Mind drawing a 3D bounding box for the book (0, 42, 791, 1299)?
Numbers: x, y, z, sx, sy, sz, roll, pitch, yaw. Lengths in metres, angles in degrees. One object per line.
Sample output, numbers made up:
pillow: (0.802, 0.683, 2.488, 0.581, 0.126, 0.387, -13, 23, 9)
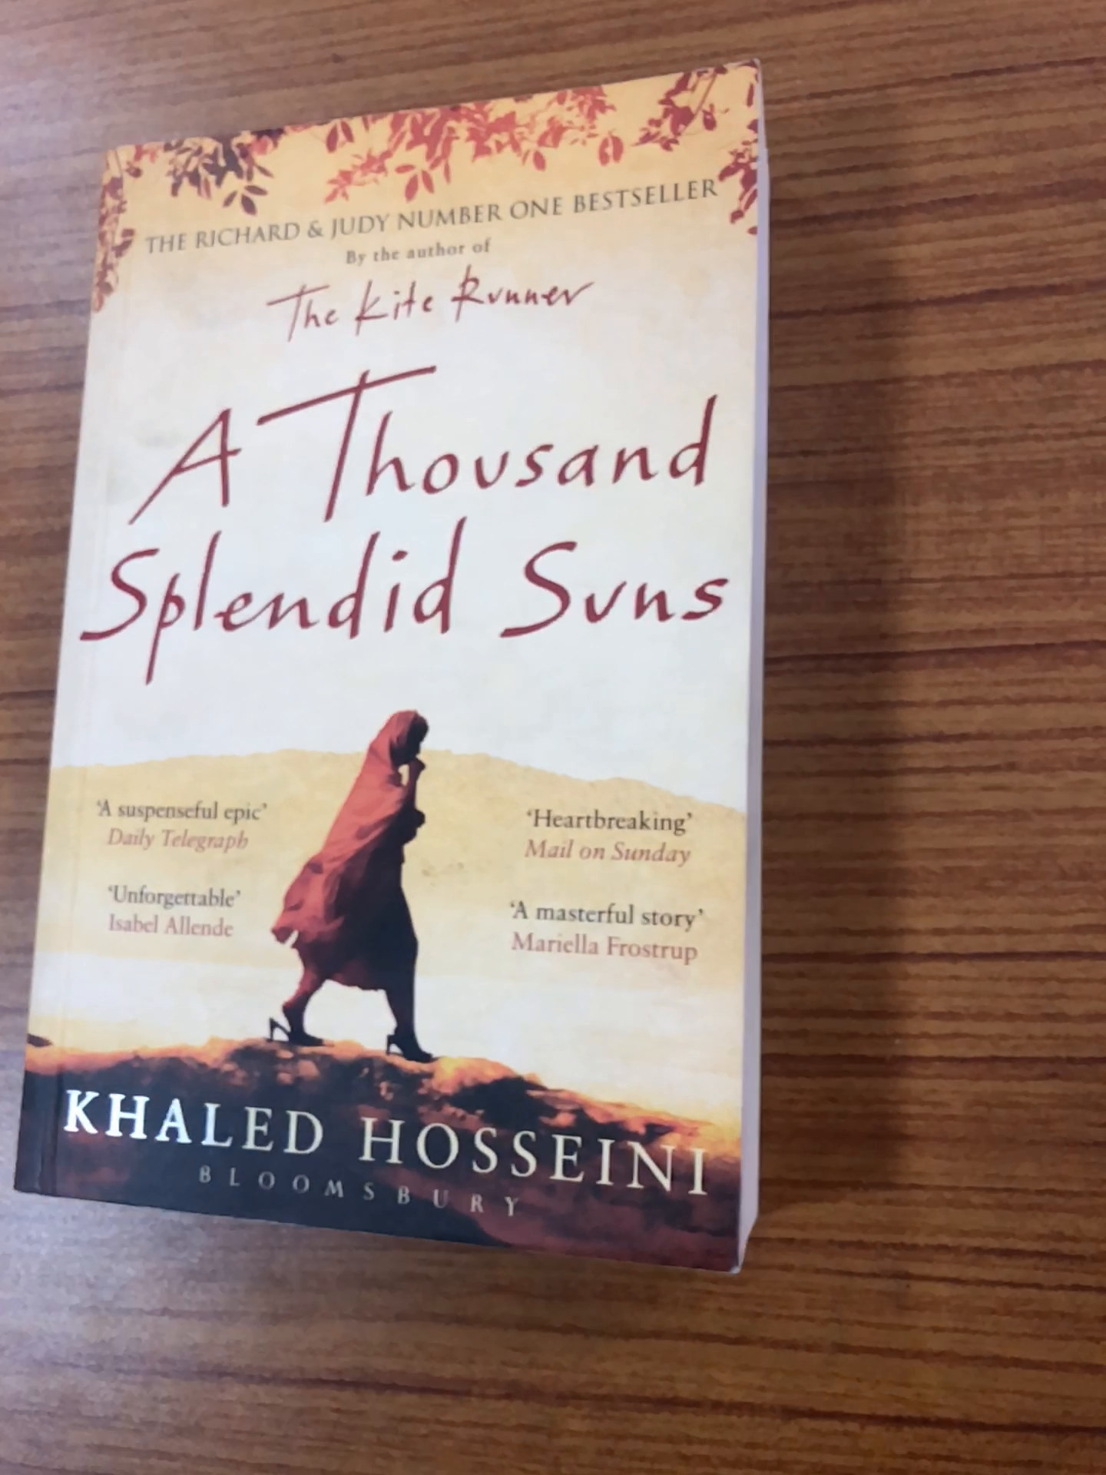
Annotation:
book: (-0.032, -0.014, 0.217, 0.140, 0.030, 0.190, 0, 84, 13)
